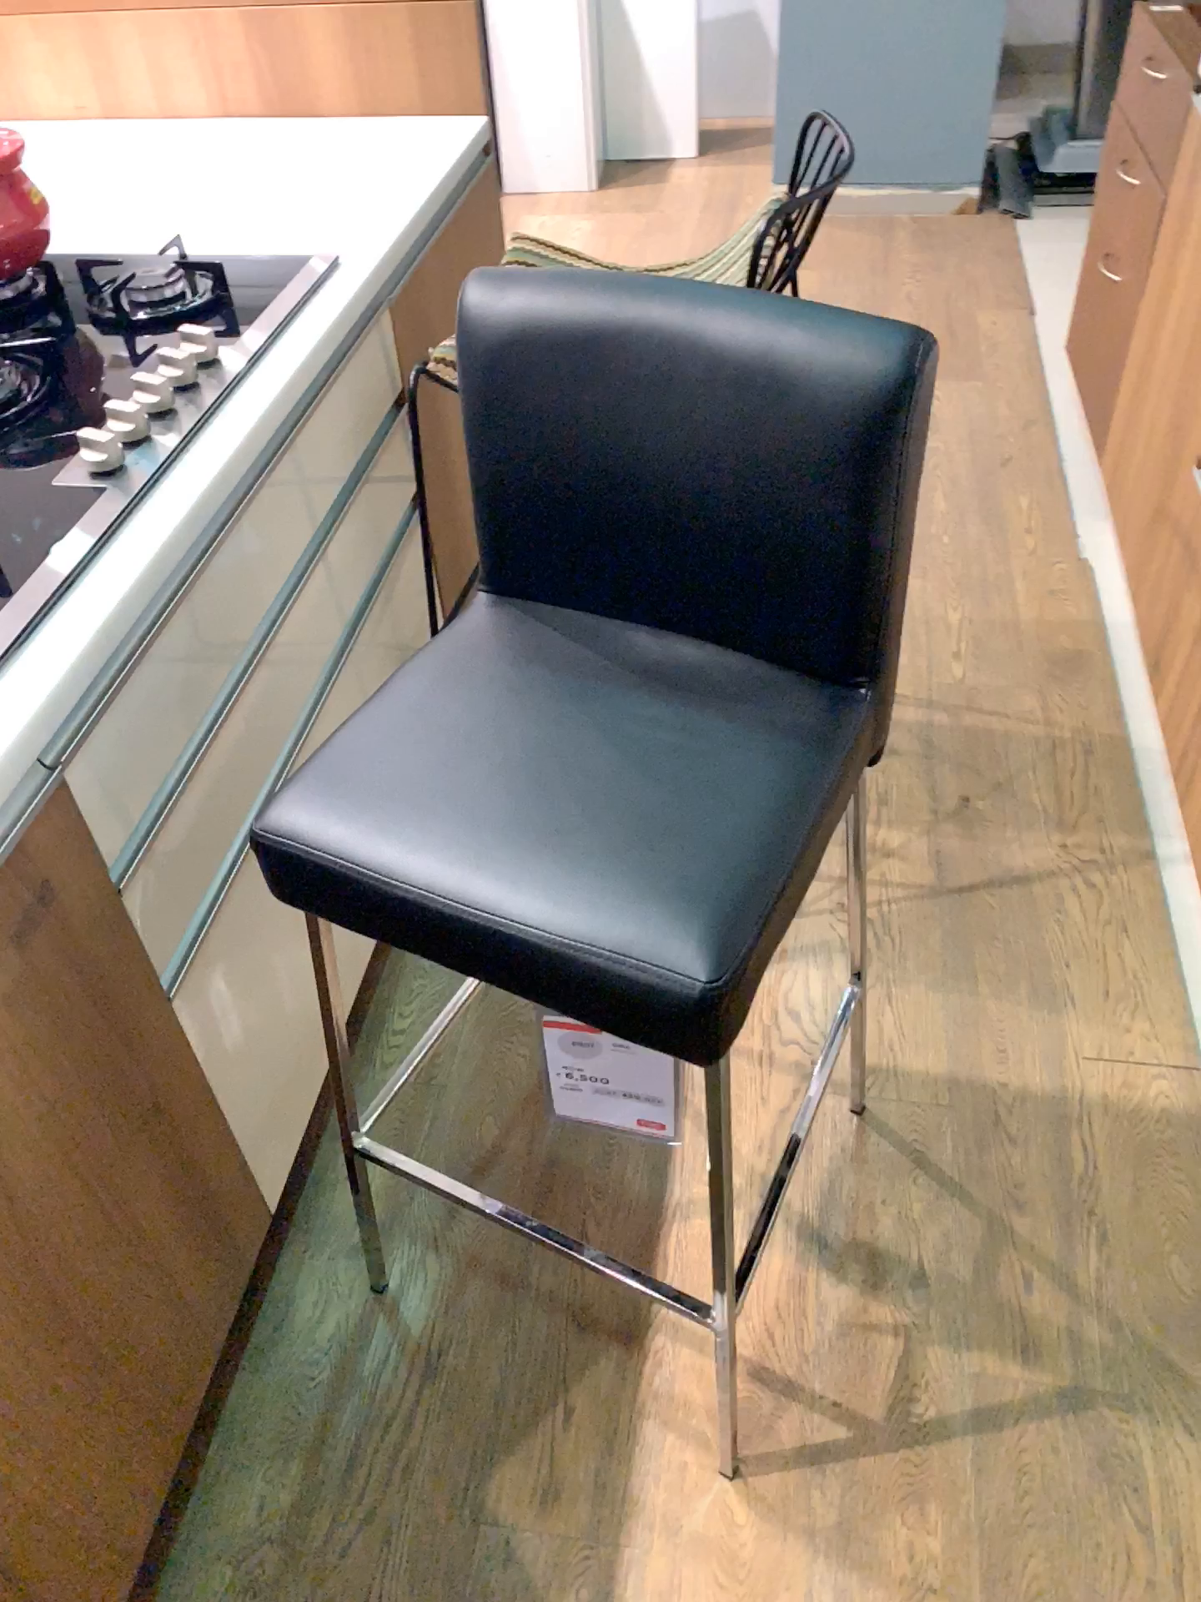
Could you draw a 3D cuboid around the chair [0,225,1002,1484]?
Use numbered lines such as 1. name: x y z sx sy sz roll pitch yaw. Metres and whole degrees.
1. chair: -0.015 0.099 1.165 0.501 1.026 0.521 16 47 21
